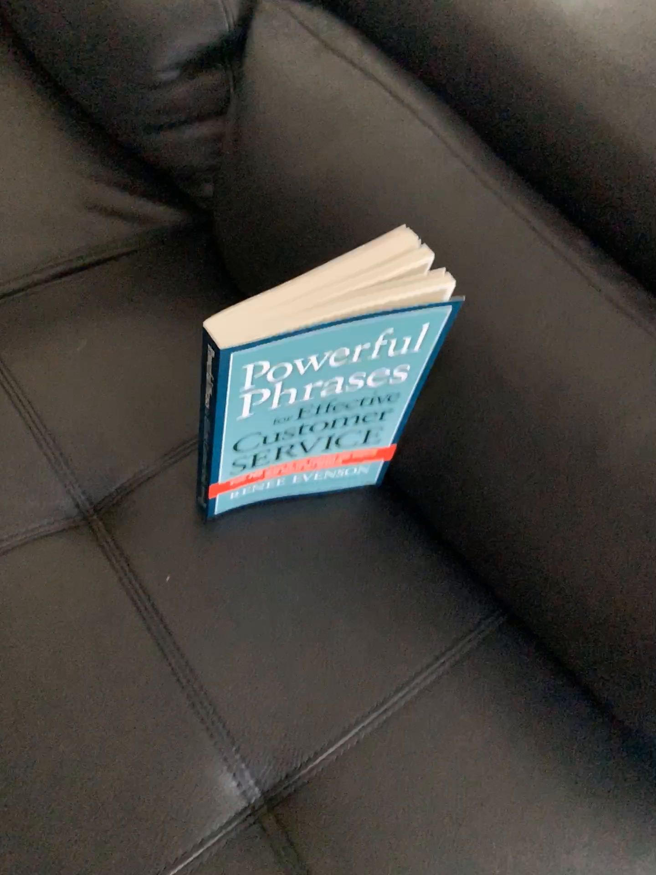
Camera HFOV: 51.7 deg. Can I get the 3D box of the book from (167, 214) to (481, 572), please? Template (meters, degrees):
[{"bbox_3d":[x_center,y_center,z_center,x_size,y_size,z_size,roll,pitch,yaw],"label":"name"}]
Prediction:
[{"bbox_3d":[-0.017,-0.017,0.491,0.162,0.247,0.082,-25,67,-22],"label":"book"}]
